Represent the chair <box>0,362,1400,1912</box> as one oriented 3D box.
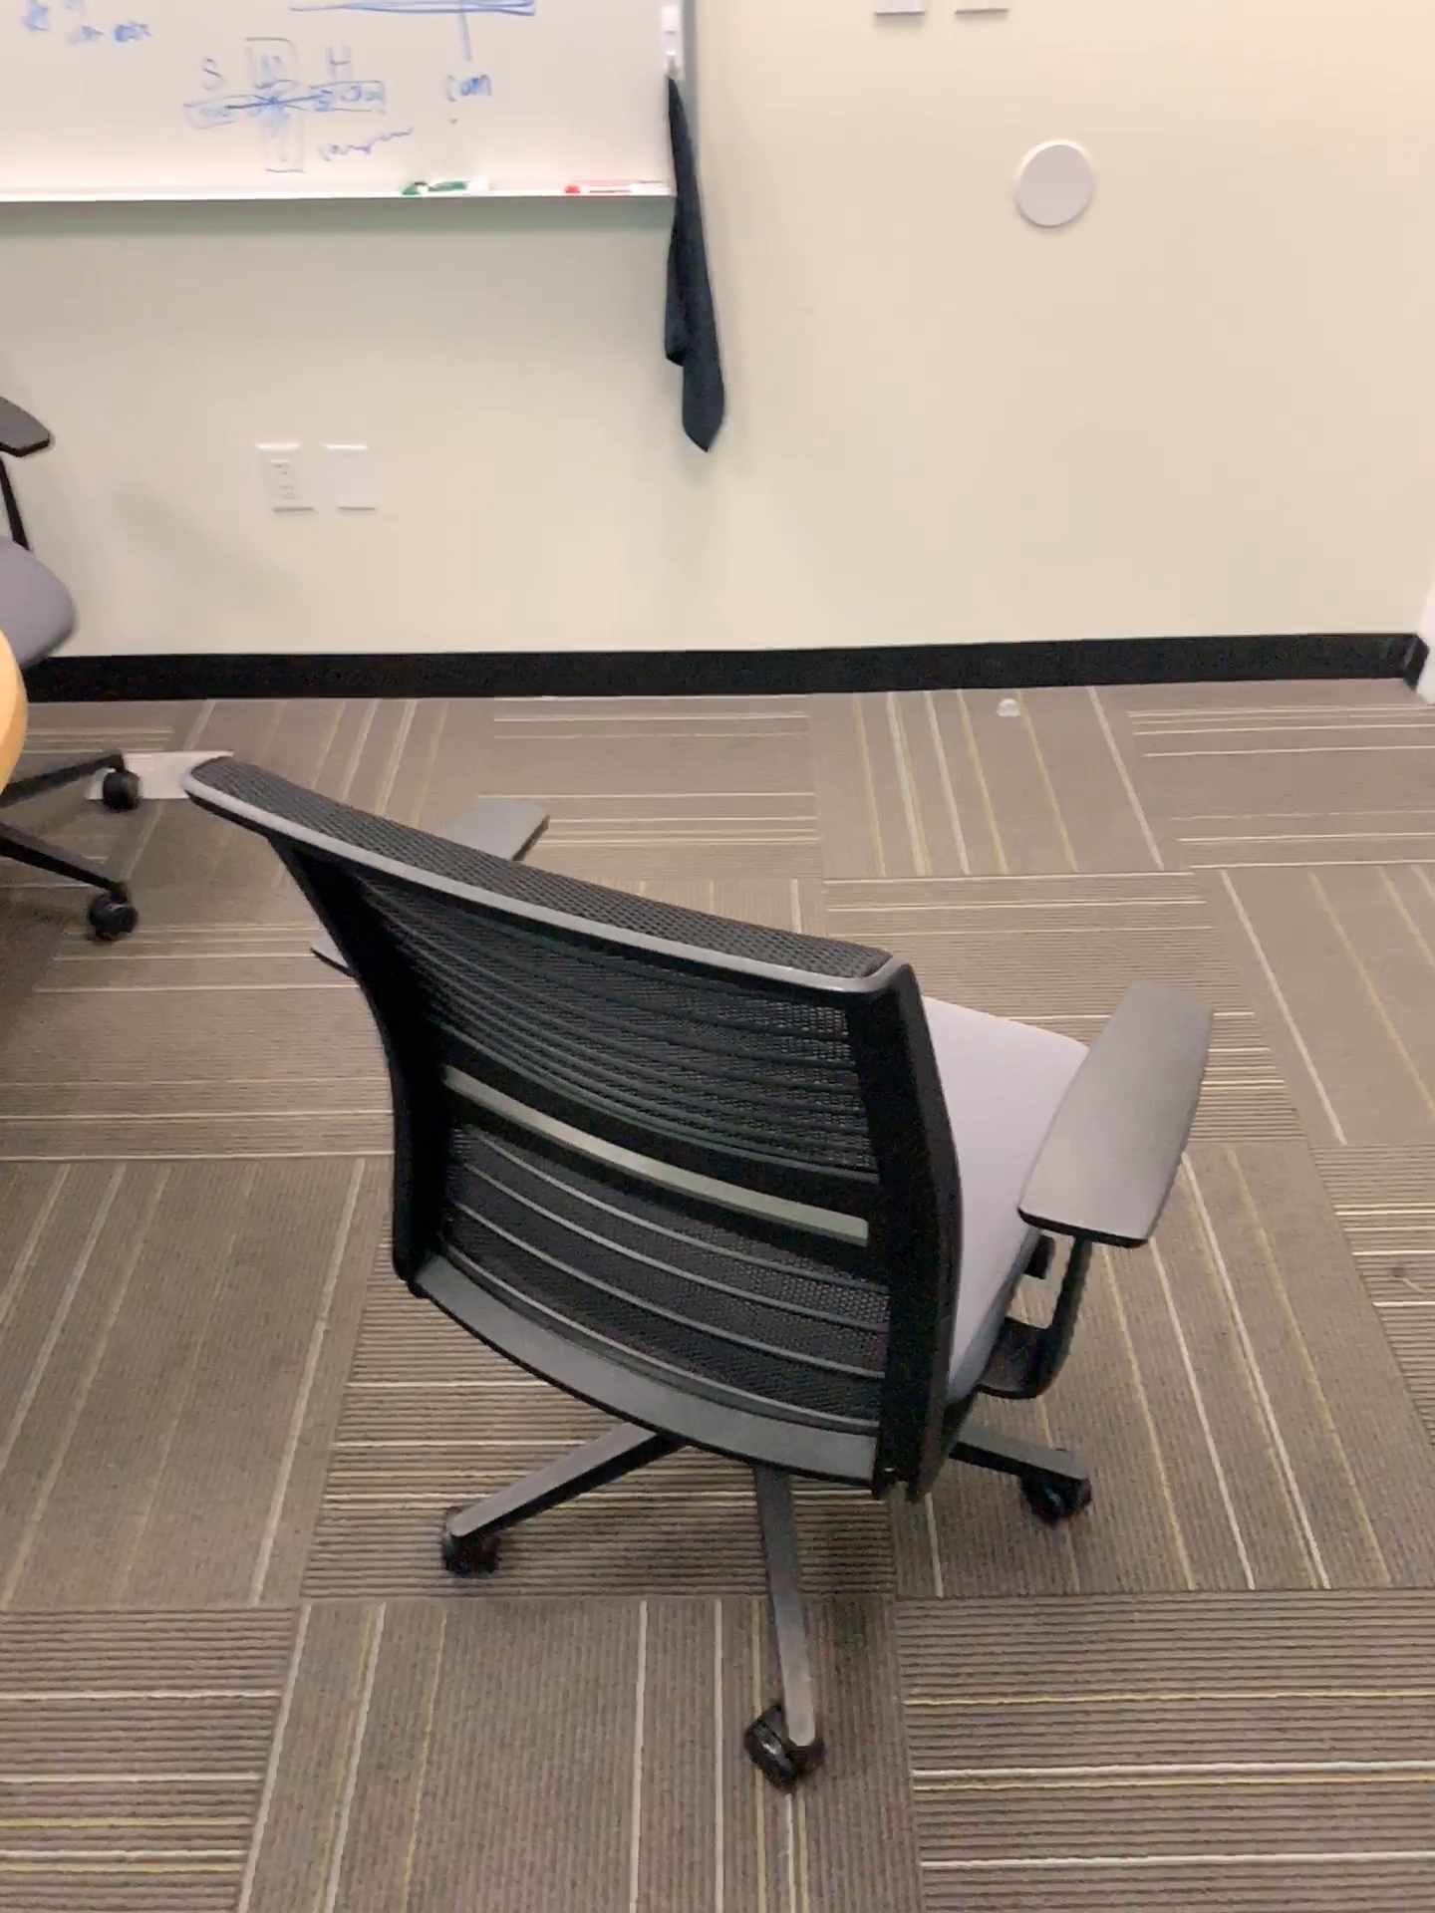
[{"bbox_3d":[0.037,0.161,1.235,0.651,0.994,0.693,18,44,22],"label":"chair"}]
